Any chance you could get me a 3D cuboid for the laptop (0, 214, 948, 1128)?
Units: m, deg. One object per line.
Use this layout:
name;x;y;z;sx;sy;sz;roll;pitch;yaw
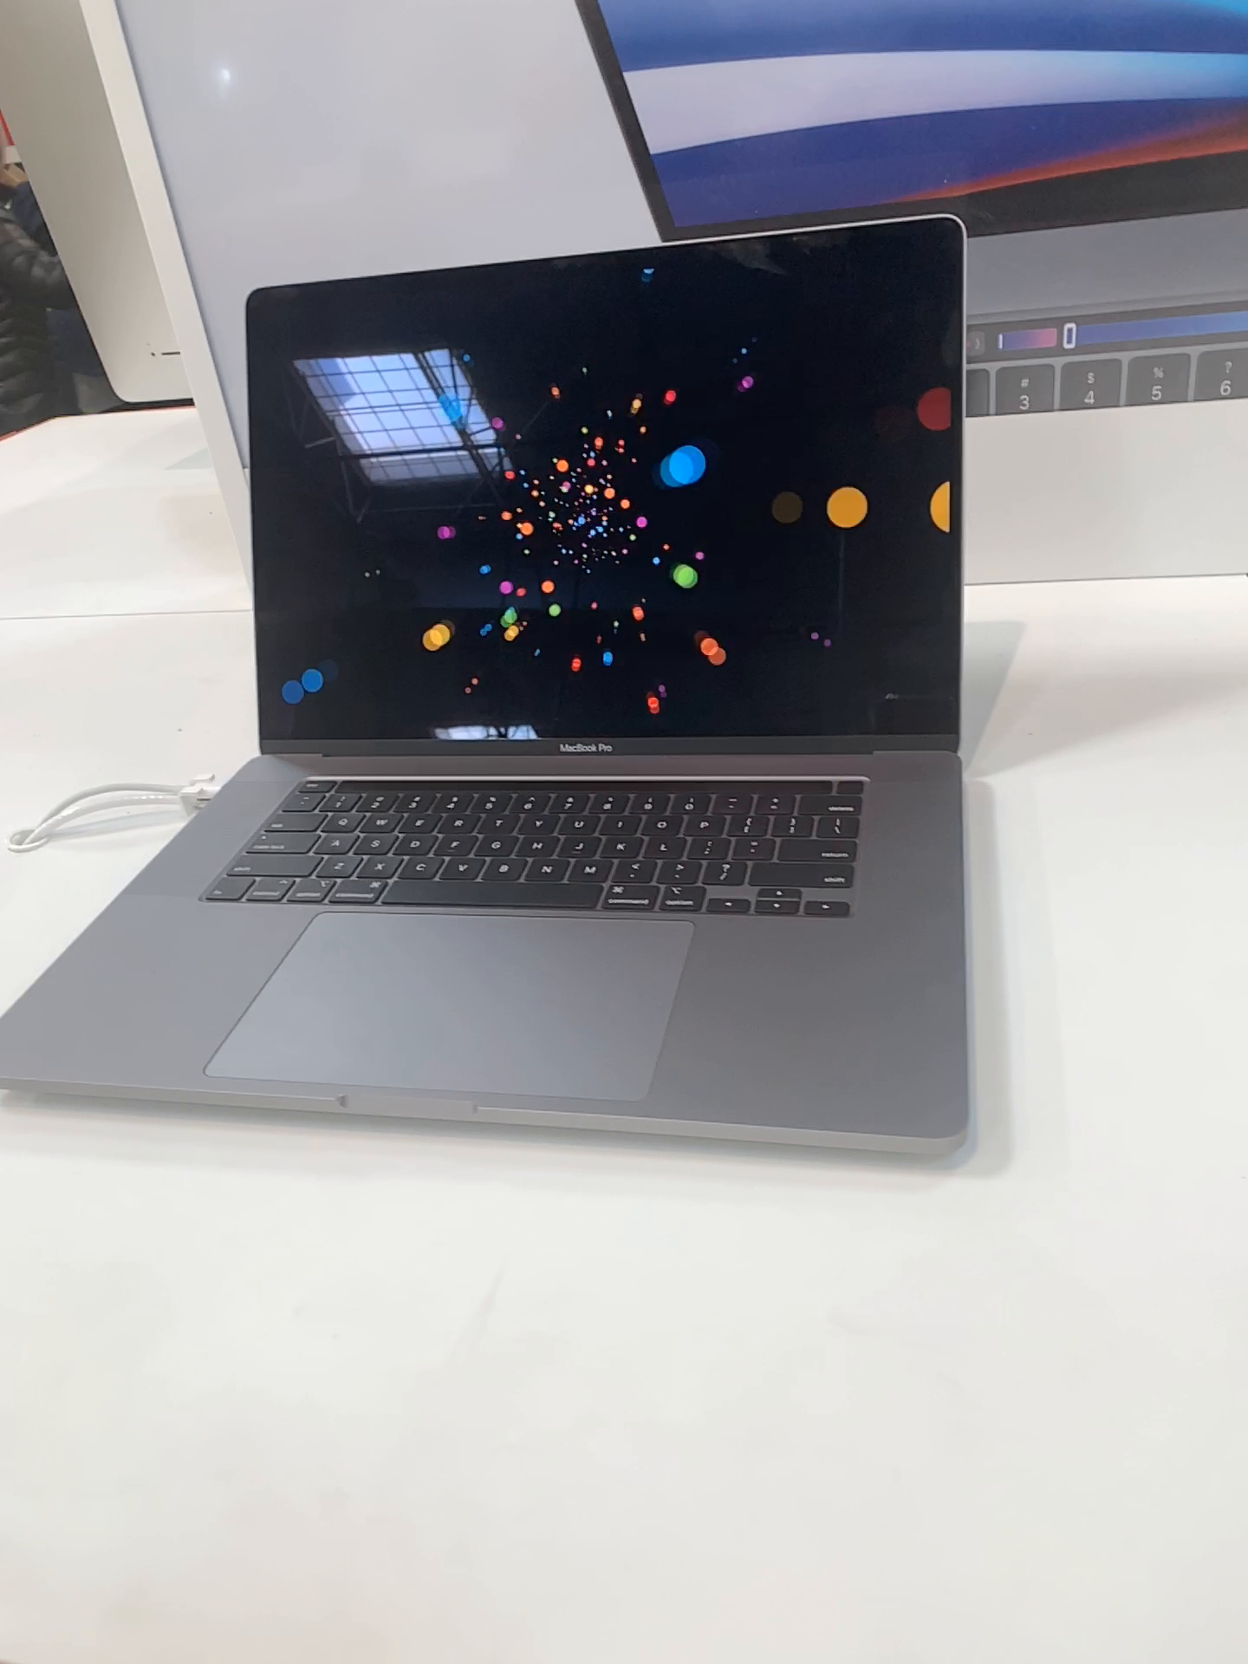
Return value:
laptop;-0.049;-0.092;0.503;0.341;0.203;0.347;0;31;14
